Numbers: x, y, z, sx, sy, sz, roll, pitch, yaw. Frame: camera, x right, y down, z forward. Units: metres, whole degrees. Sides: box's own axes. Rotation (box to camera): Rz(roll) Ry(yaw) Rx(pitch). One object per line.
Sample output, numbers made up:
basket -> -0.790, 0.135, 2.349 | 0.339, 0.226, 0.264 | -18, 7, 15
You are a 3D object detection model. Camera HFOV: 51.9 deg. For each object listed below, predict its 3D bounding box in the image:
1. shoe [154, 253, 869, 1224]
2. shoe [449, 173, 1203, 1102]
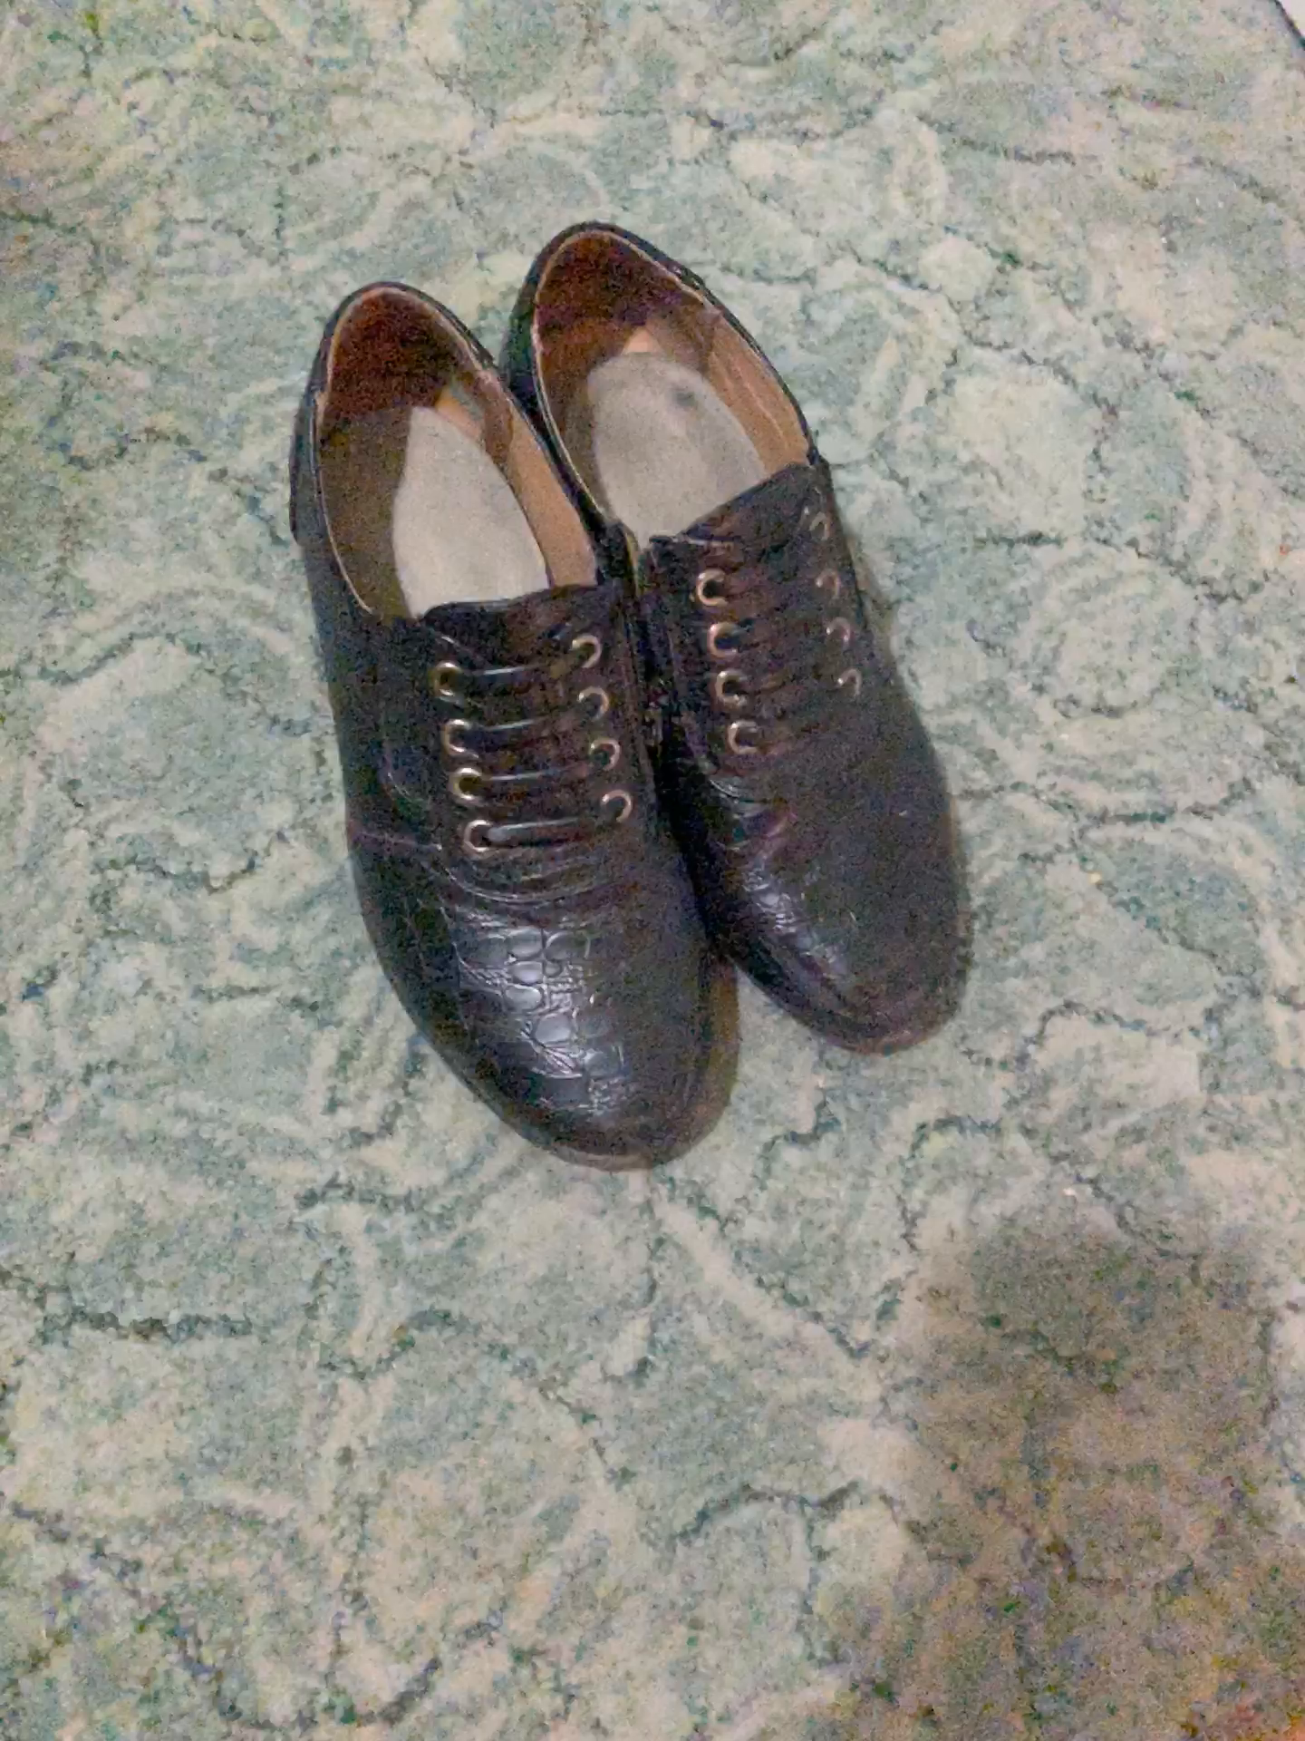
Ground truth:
shoe -> -0.044, -0.031, 0.369 | 0.090, 0.120, 0.221 | -21, 73, -13
shoe -> 0.031, -0.060, 0.377 | 0.090, 0.120, 0.211 | -25, 74, -14
